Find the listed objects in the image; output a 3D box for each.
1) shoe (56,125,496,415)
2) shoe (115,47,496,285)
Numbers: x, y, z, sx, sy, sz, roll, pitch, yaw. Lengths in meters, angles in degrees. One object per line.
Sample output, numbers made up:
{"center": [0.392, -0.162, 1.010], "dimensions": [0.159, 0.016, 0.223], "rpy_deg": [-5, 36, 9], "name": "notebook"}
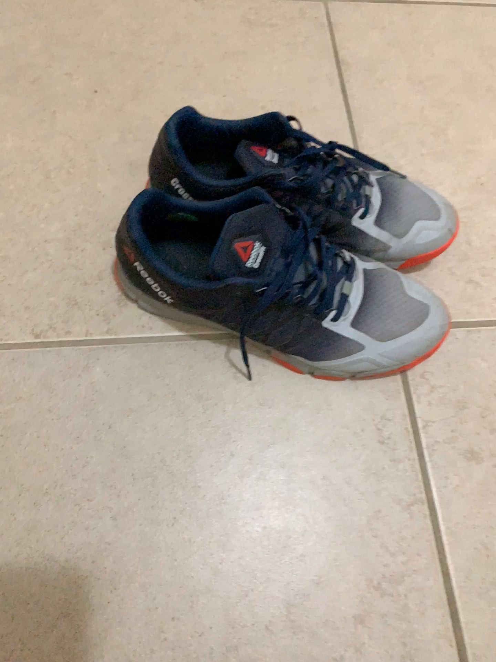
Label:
{"center": [0.031, -0.040, 0.421], "dimensions": [0.314, 0.133, 0.109], "rpy_deg": [15, 67, 1], "name": "shoe"}
{"center": [0.053, -0.139, 0.460], "dimensions": [0.304, 0.122, 0.104], "rpy_deg": [9, 67, -2], "name": "shoe"}
